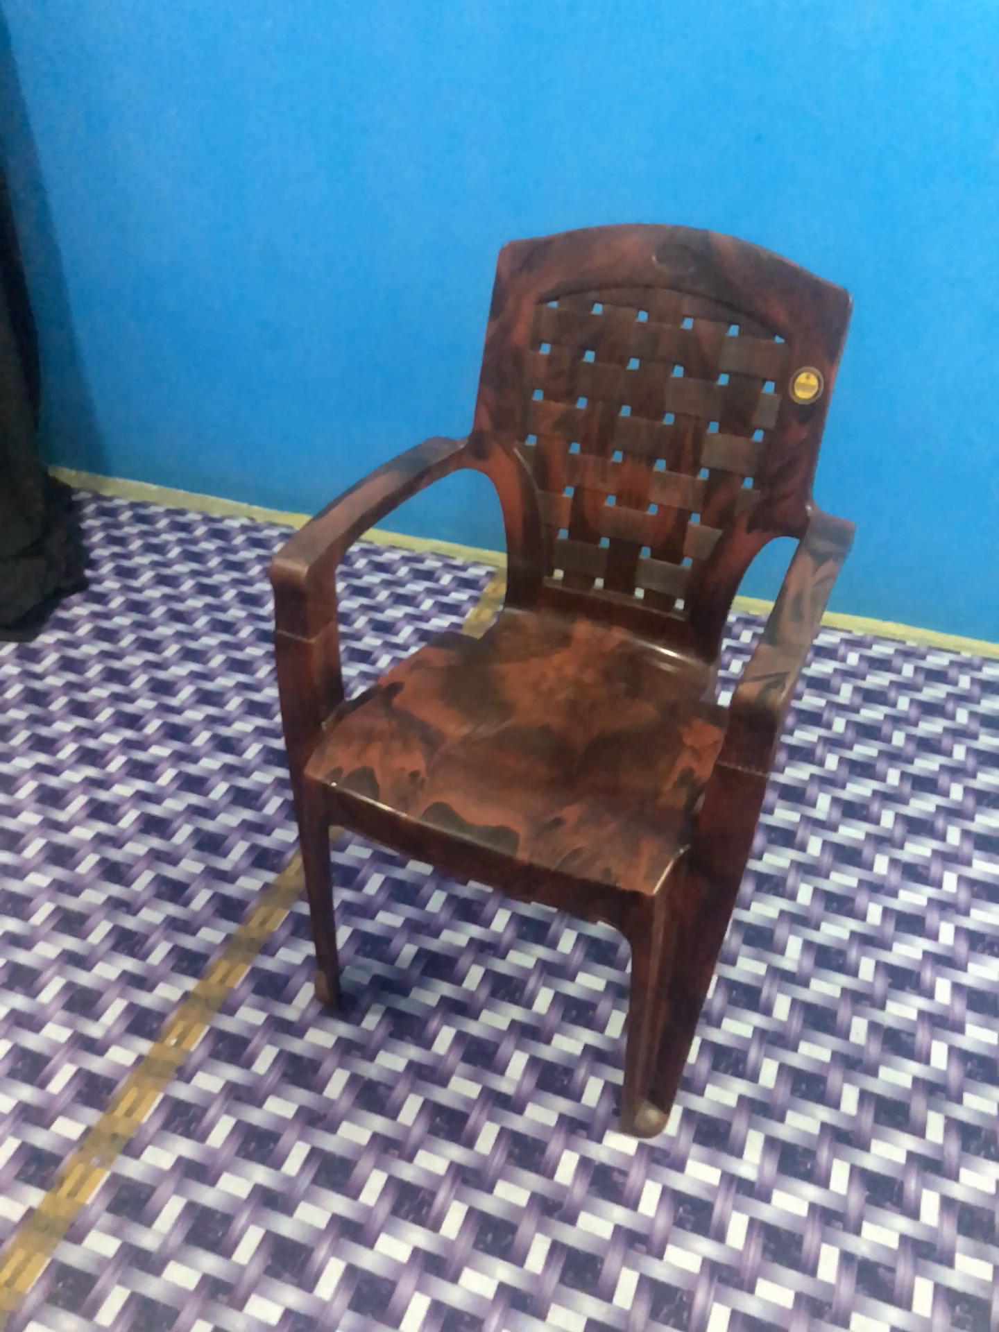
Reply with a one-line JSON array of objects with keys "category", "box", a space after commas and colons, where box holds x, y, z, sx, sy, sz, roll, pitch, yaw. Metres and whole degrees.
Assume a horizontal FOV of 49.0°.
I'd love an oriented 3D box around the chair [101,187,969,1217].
[{"category": "chair", "box": [0.075, 0.009, 1.233, 0.590, 0.845, 0.594, 16, 39, 20]}]
